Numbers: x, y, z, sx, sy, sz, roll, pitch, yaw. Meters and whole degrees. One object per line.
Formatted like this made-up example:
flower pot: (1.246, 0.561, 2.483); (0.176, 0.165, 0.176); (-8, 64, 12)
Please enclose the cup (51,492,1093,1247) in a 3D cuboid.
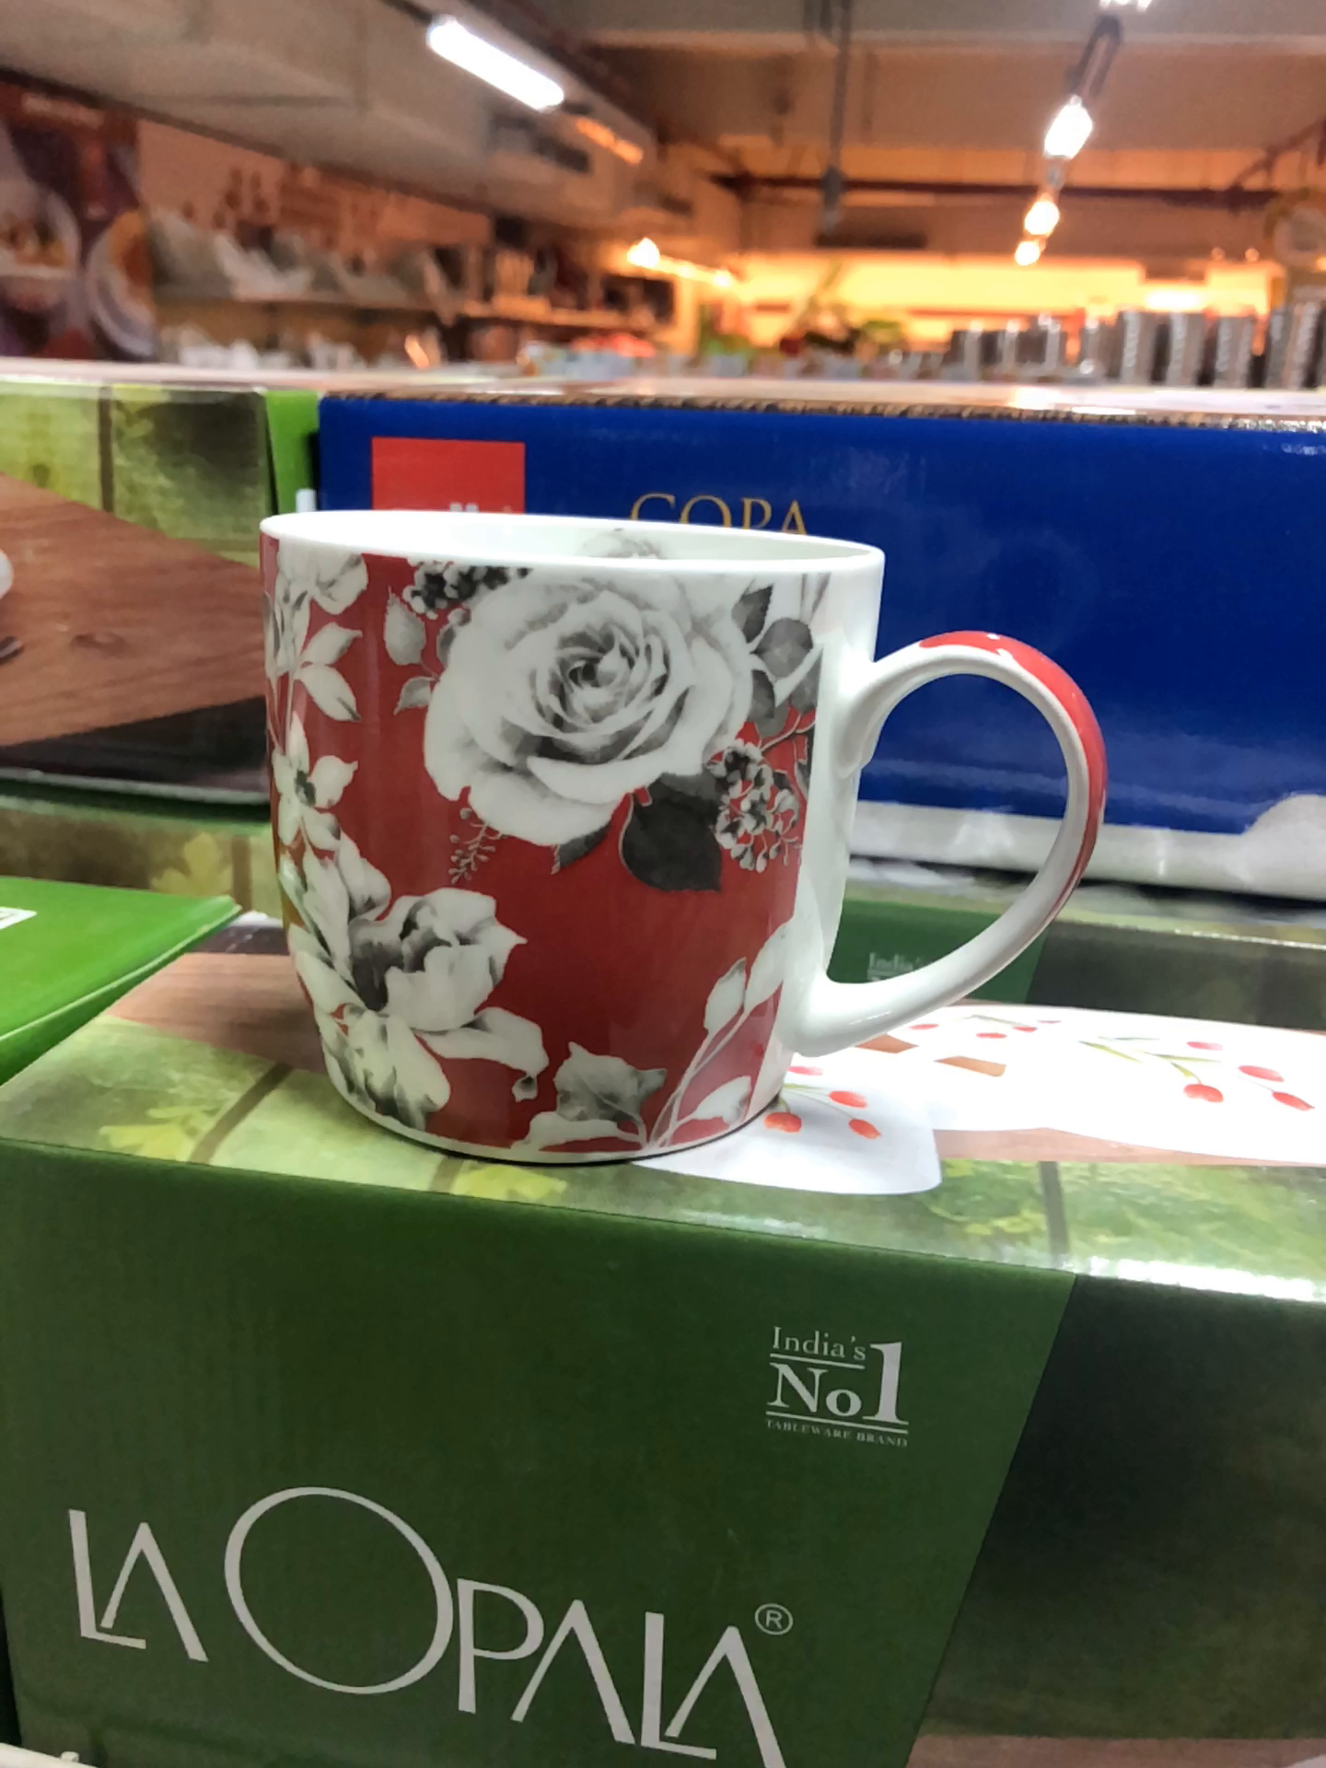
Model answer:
cup: (-0.004, -0.014, 0.201); (0.110, 0.070, 0.090); (7, 16, 13)
